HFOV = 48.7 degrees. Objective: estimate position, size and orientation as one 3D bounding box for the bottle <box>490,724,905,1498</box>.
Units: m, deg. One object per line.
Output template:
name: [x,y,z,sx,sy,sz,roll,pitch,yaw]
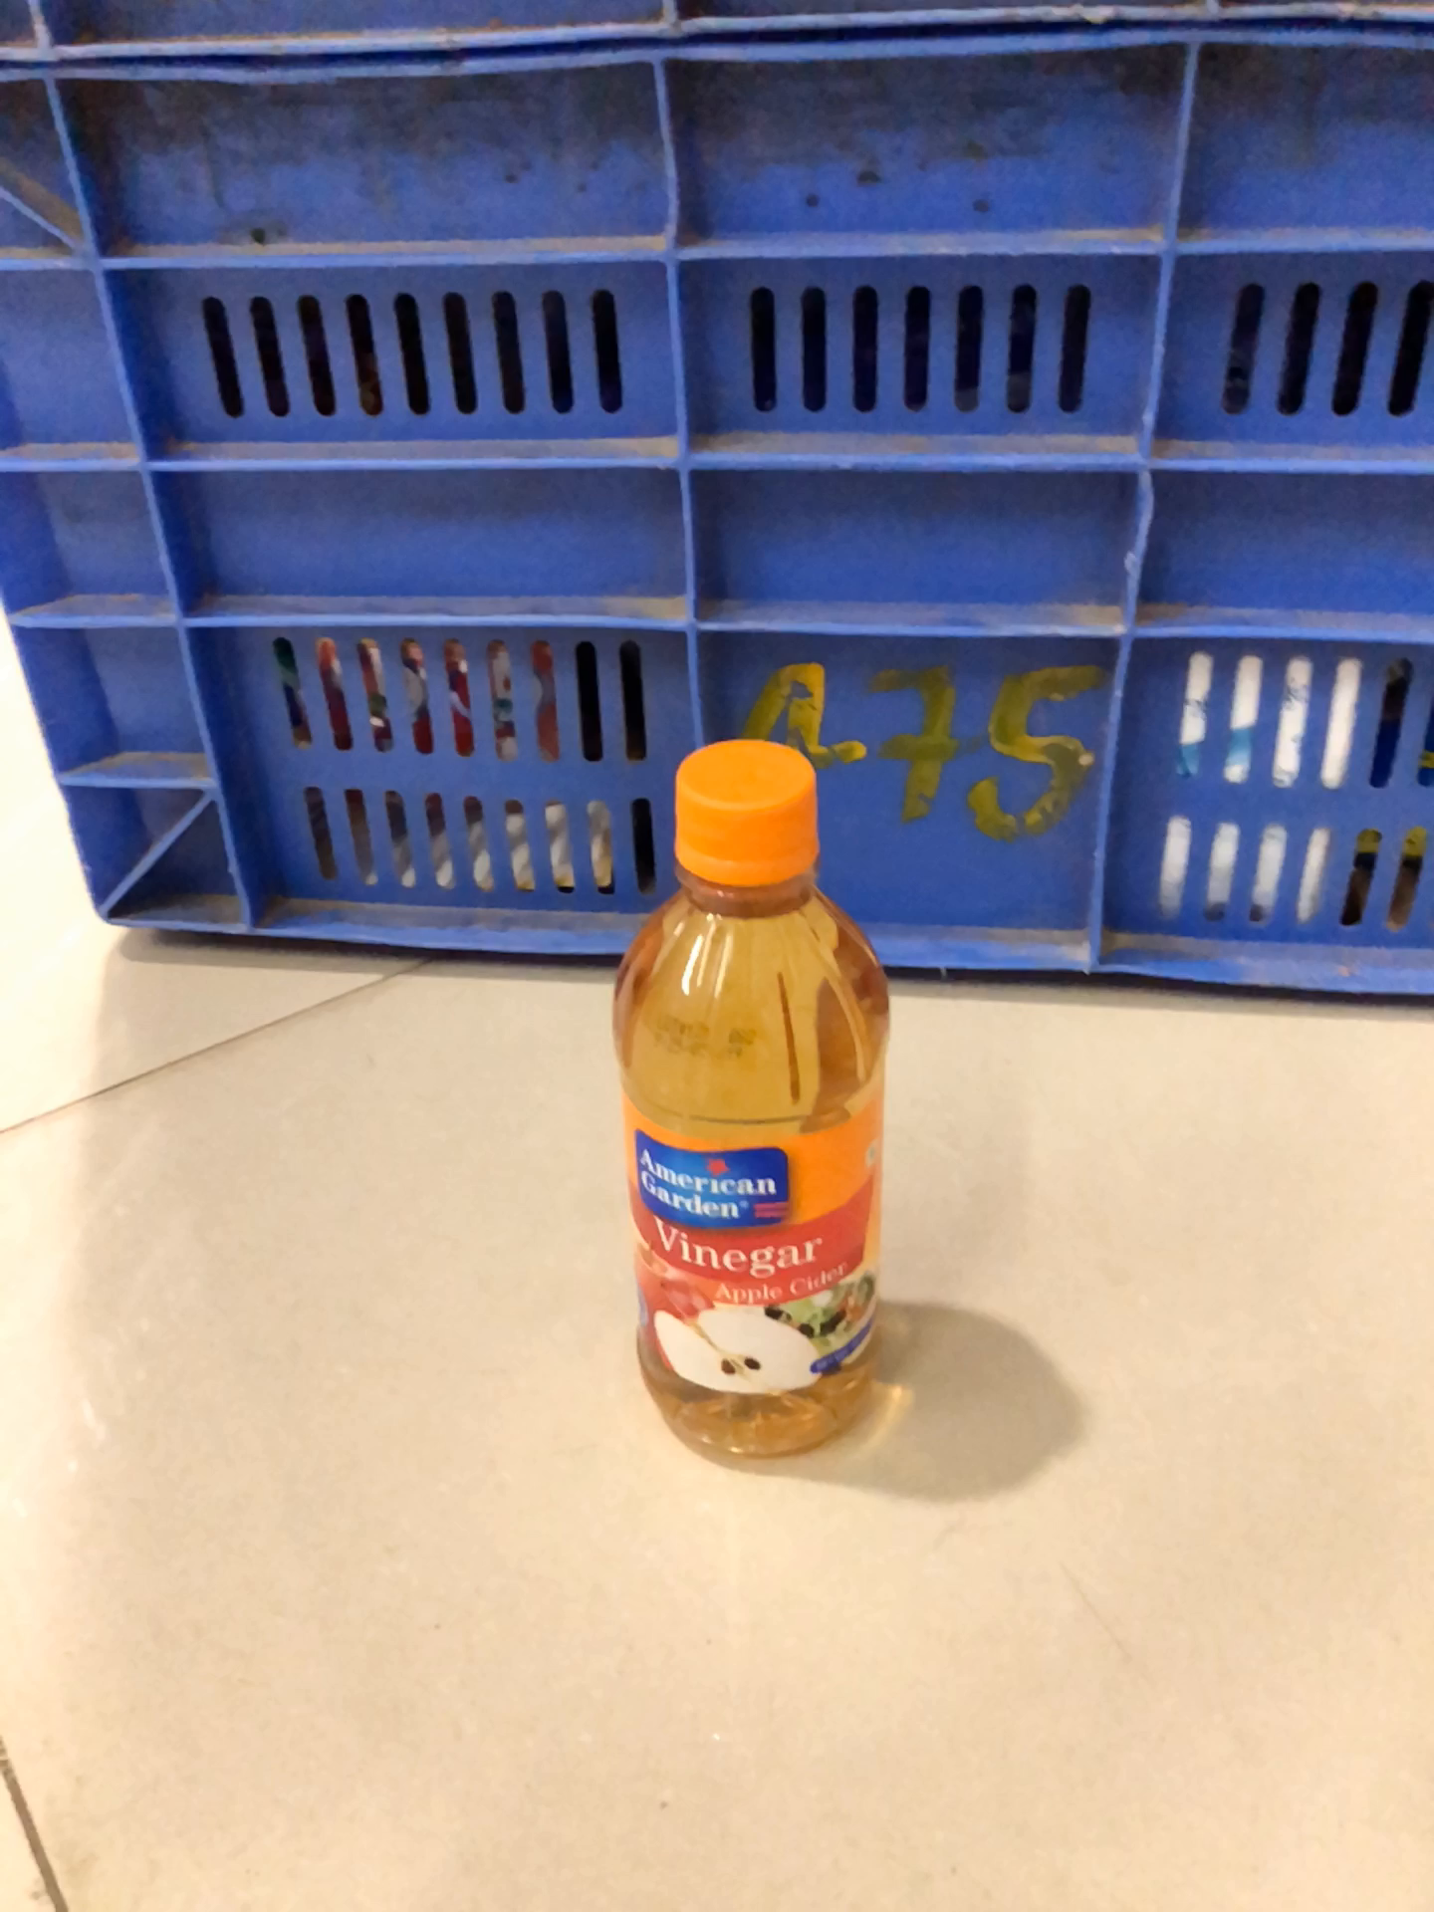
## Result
bottle: [0.002,0.039,0.382,0.070,0.169,0.070,-2,33,1]
